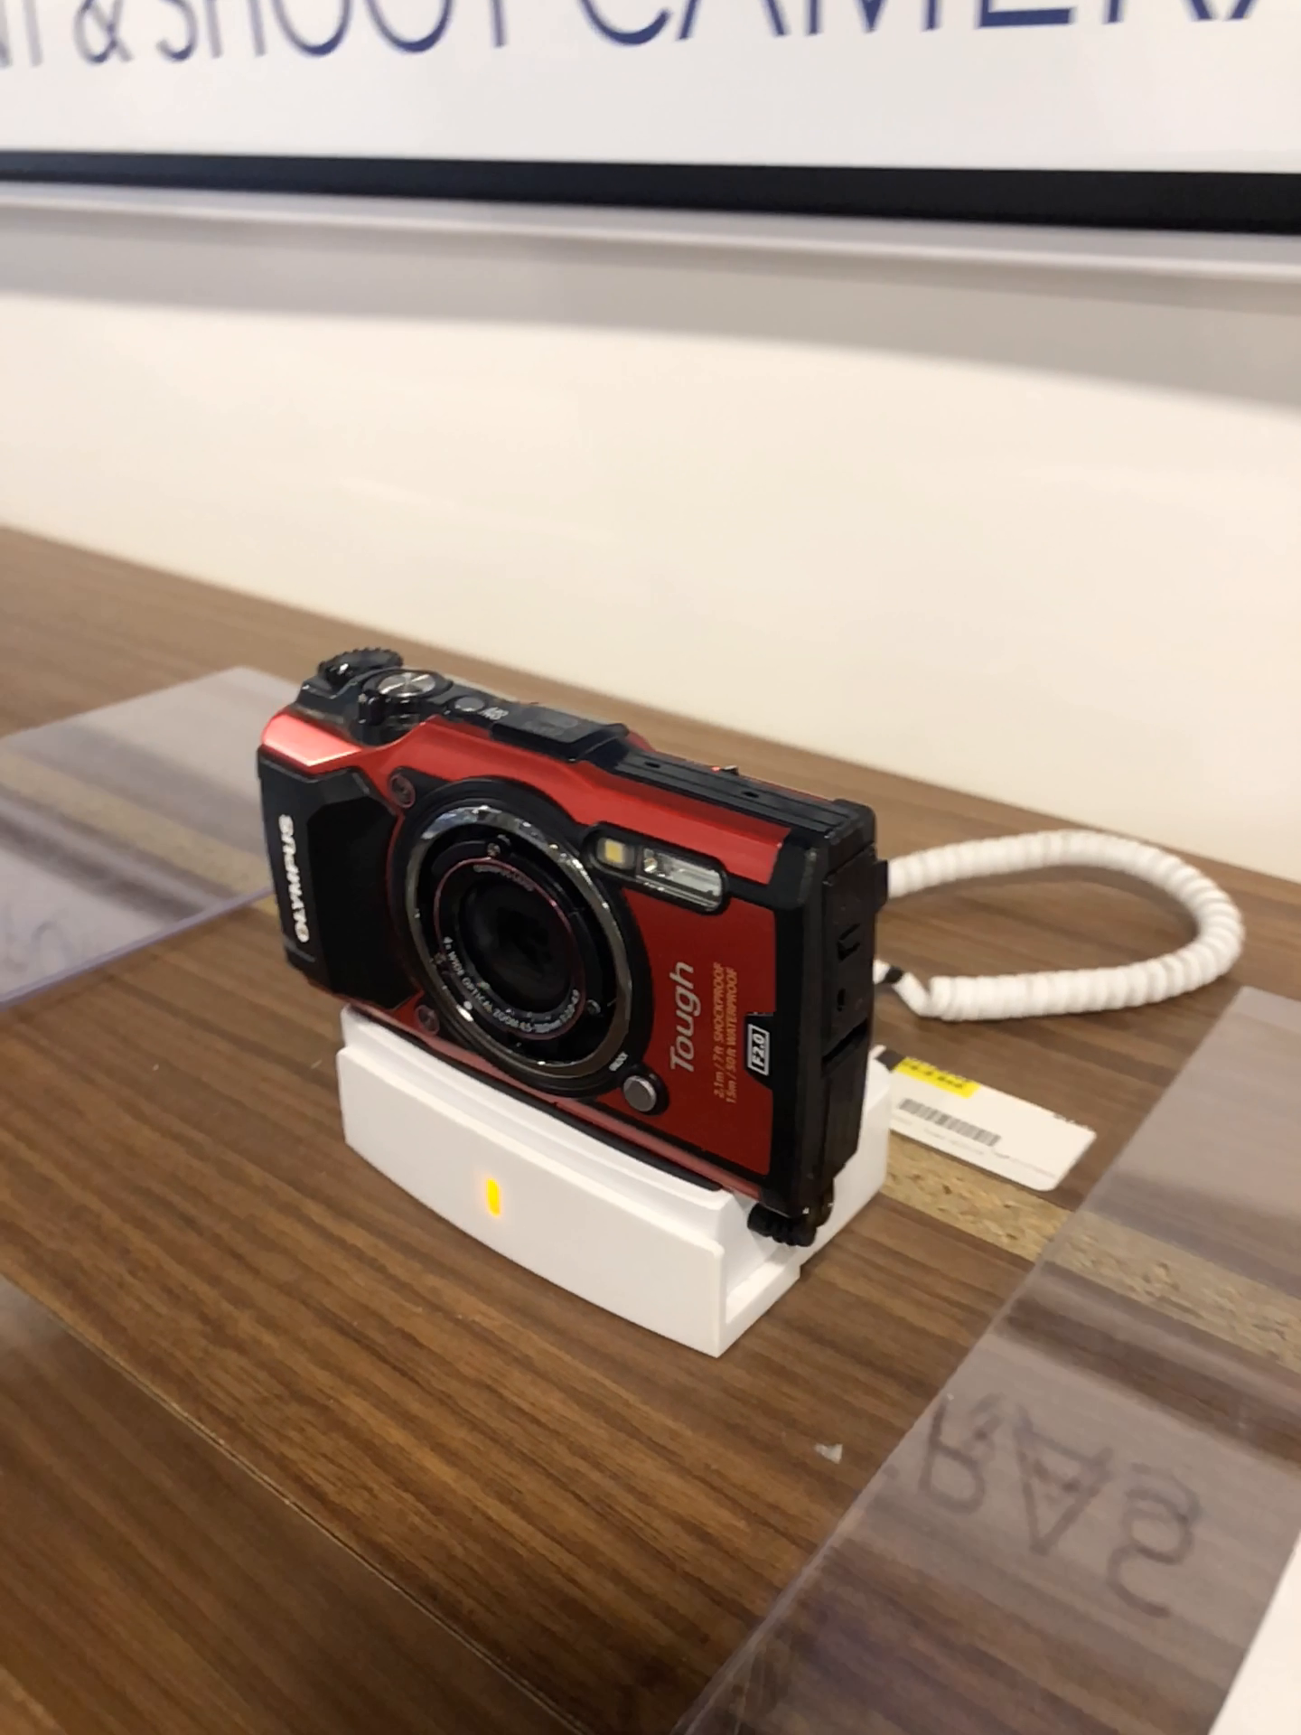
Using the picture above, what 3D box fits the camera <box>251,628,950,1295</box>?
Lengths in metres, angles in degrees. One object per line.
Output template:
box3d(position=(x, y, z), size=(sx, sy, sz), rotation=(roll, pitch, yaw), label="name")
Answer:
box3d(position=(-0.014, 0.009, 0.242), size=(0.120, 0.070, 0.030), rotation=(20, 31, 35), label="camera")
